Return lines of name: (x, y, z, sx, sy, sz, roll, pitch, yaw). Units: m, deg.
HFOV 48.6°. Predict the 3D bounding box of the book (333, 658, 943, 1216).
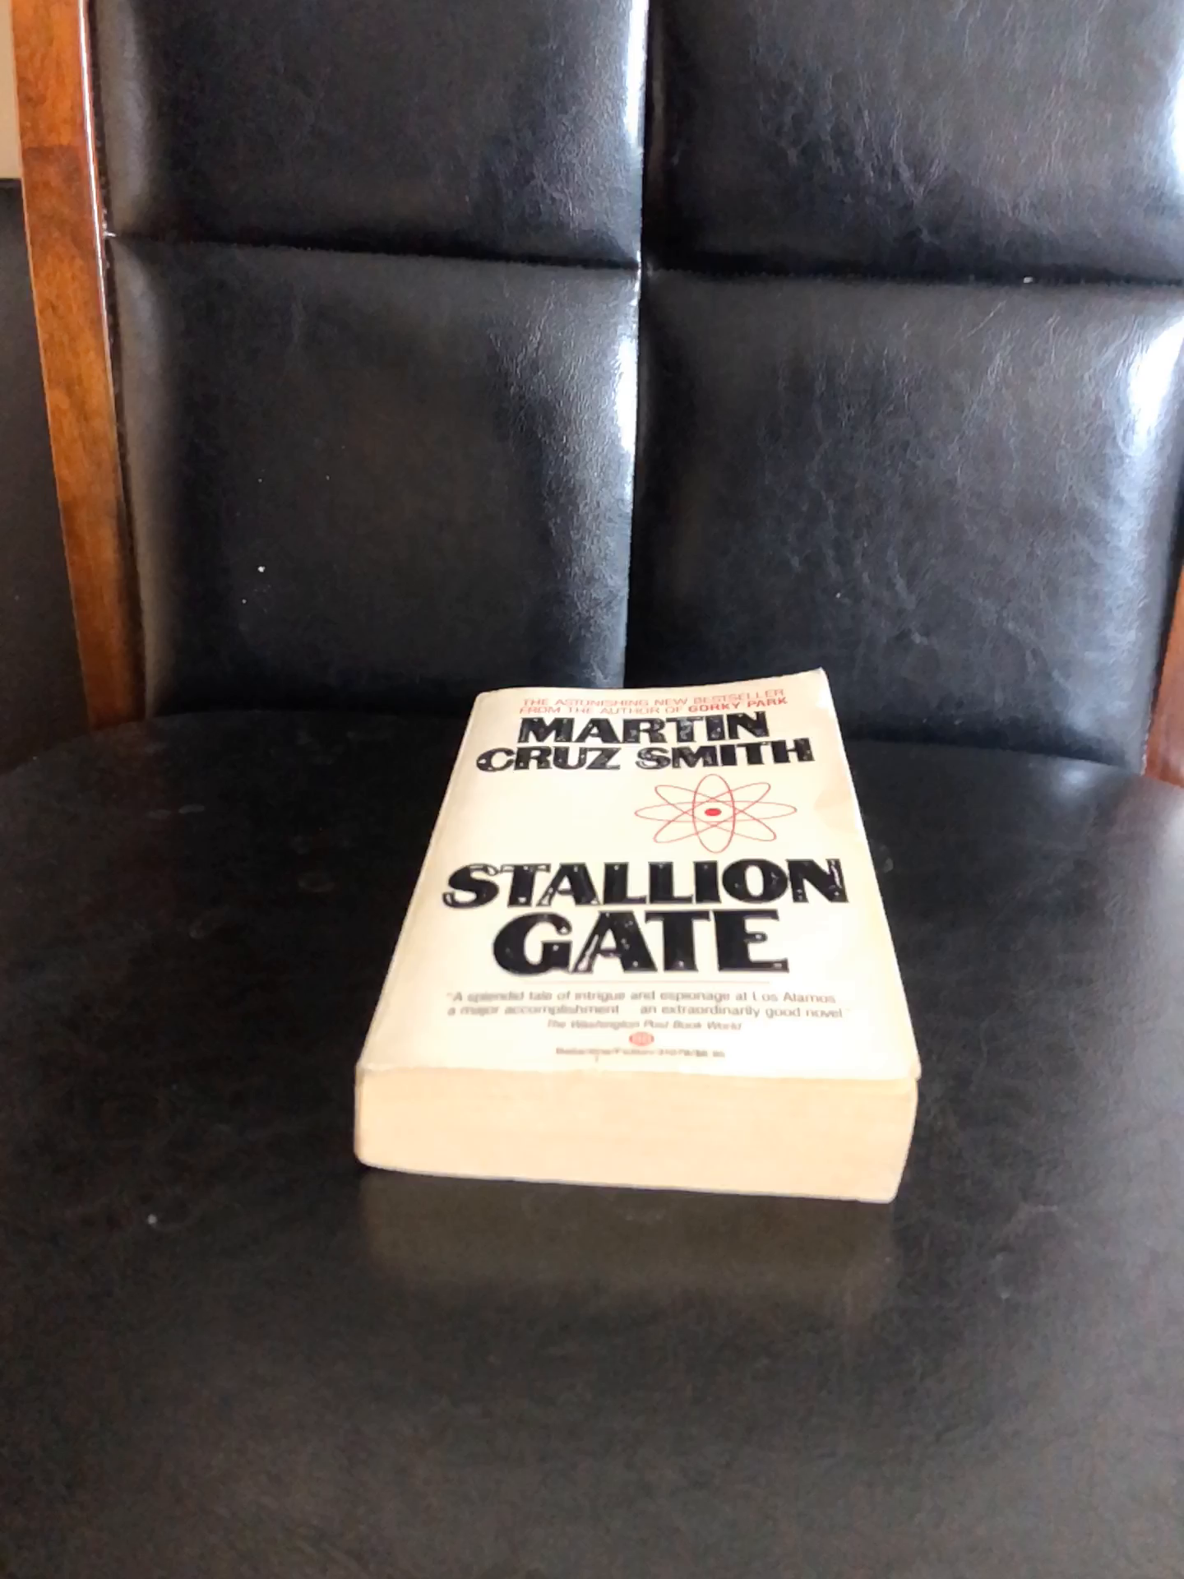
book: (0.014, 0.020, 0.327, 0.110, 0.030, 0.191, 2, 29, 3)
